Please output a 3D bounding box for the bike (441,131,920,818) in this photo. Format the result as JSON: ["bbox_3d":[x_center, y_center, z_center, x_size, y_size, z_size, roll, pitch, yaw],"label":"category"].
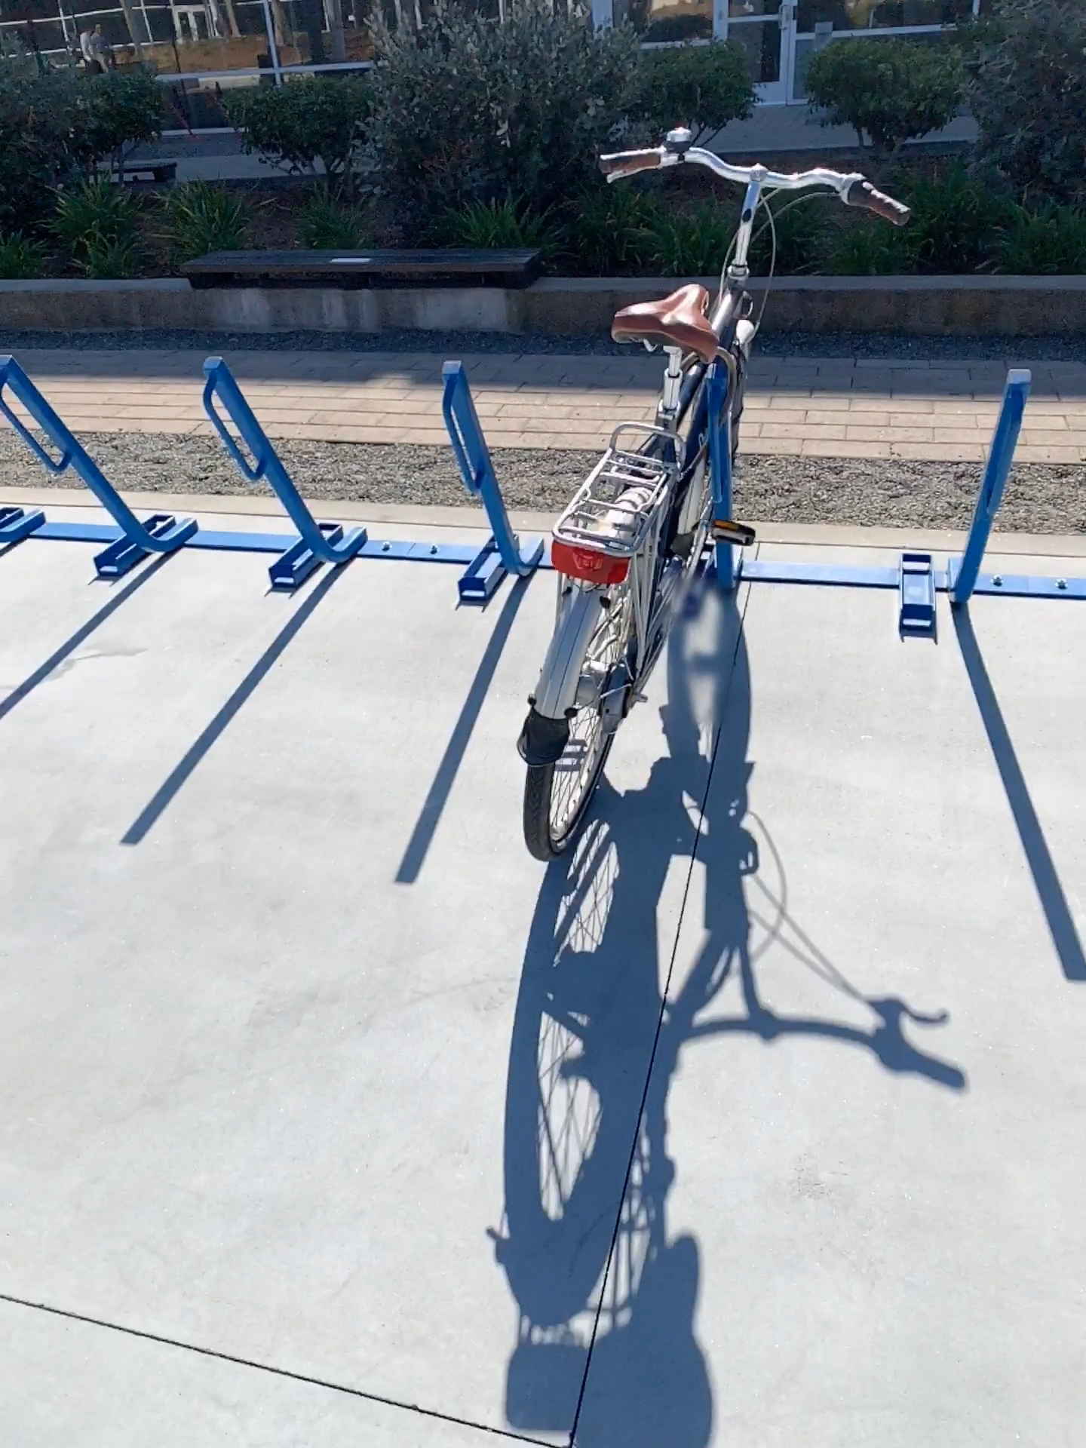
[{"bbox_3d":[0.332,-0.553,2.136,0.591,0.915,1.066,8,35,18],"label":"bike"}]
